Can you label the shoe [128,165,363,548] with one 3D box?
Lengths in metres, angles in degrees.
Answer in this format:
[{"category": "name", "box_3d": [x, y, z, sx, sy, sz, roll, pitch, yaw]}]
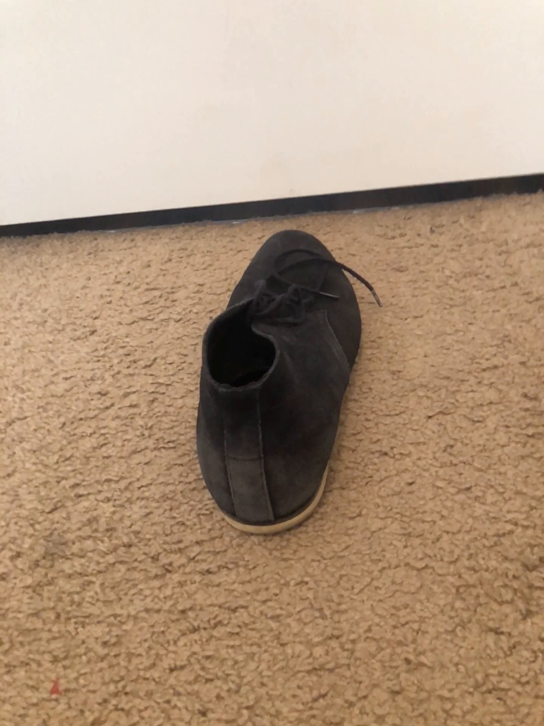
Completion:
[{"category": "shoe", "box_3d": [0.005, -0.025, 0.418, 0.102, 0.095, 0.280, -1, 43, 12]}]
